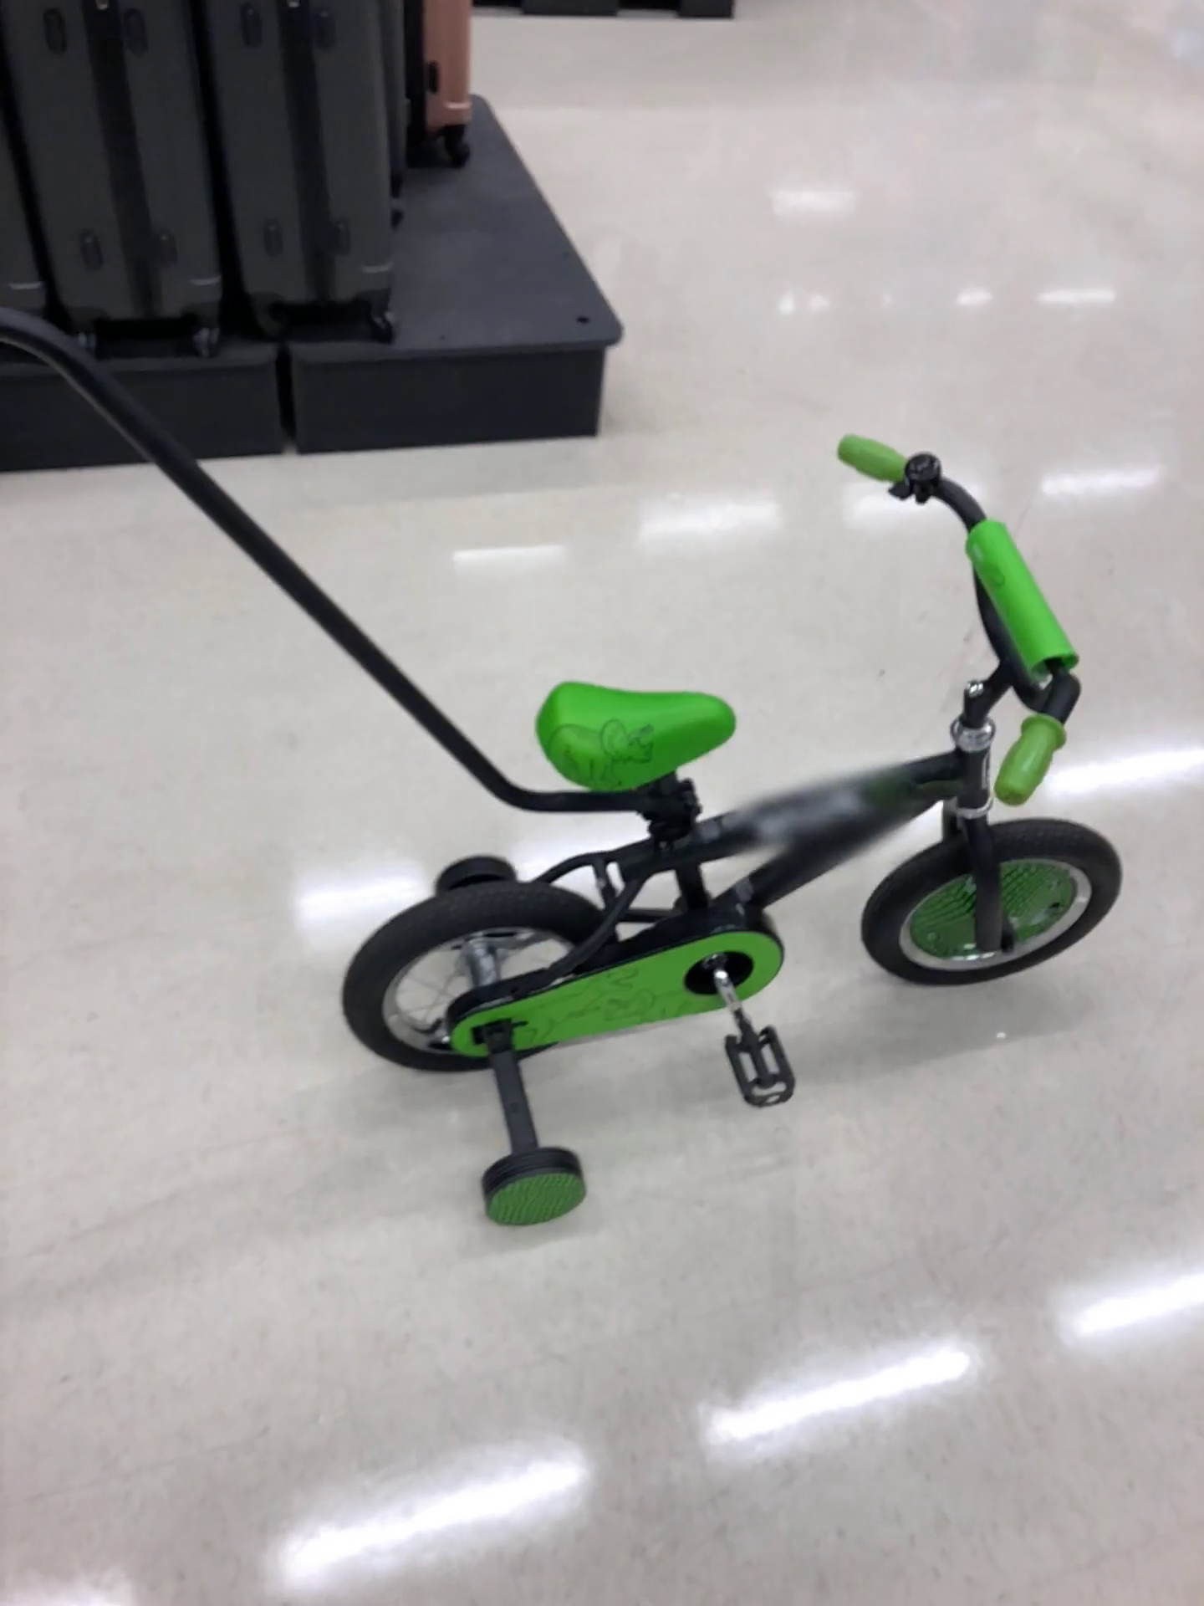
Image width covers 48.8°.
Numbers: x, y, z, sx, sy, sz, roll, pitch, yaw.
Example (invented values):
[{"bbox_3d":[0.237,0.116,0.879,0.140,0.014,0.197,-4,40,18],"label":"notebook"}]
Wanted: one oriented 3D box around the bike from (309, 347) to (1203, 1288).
[{"bbox_3d":[0.178,0.007,1.292,0.846,0.600,0.493,-8,47,-10],"label":"bike"}]
